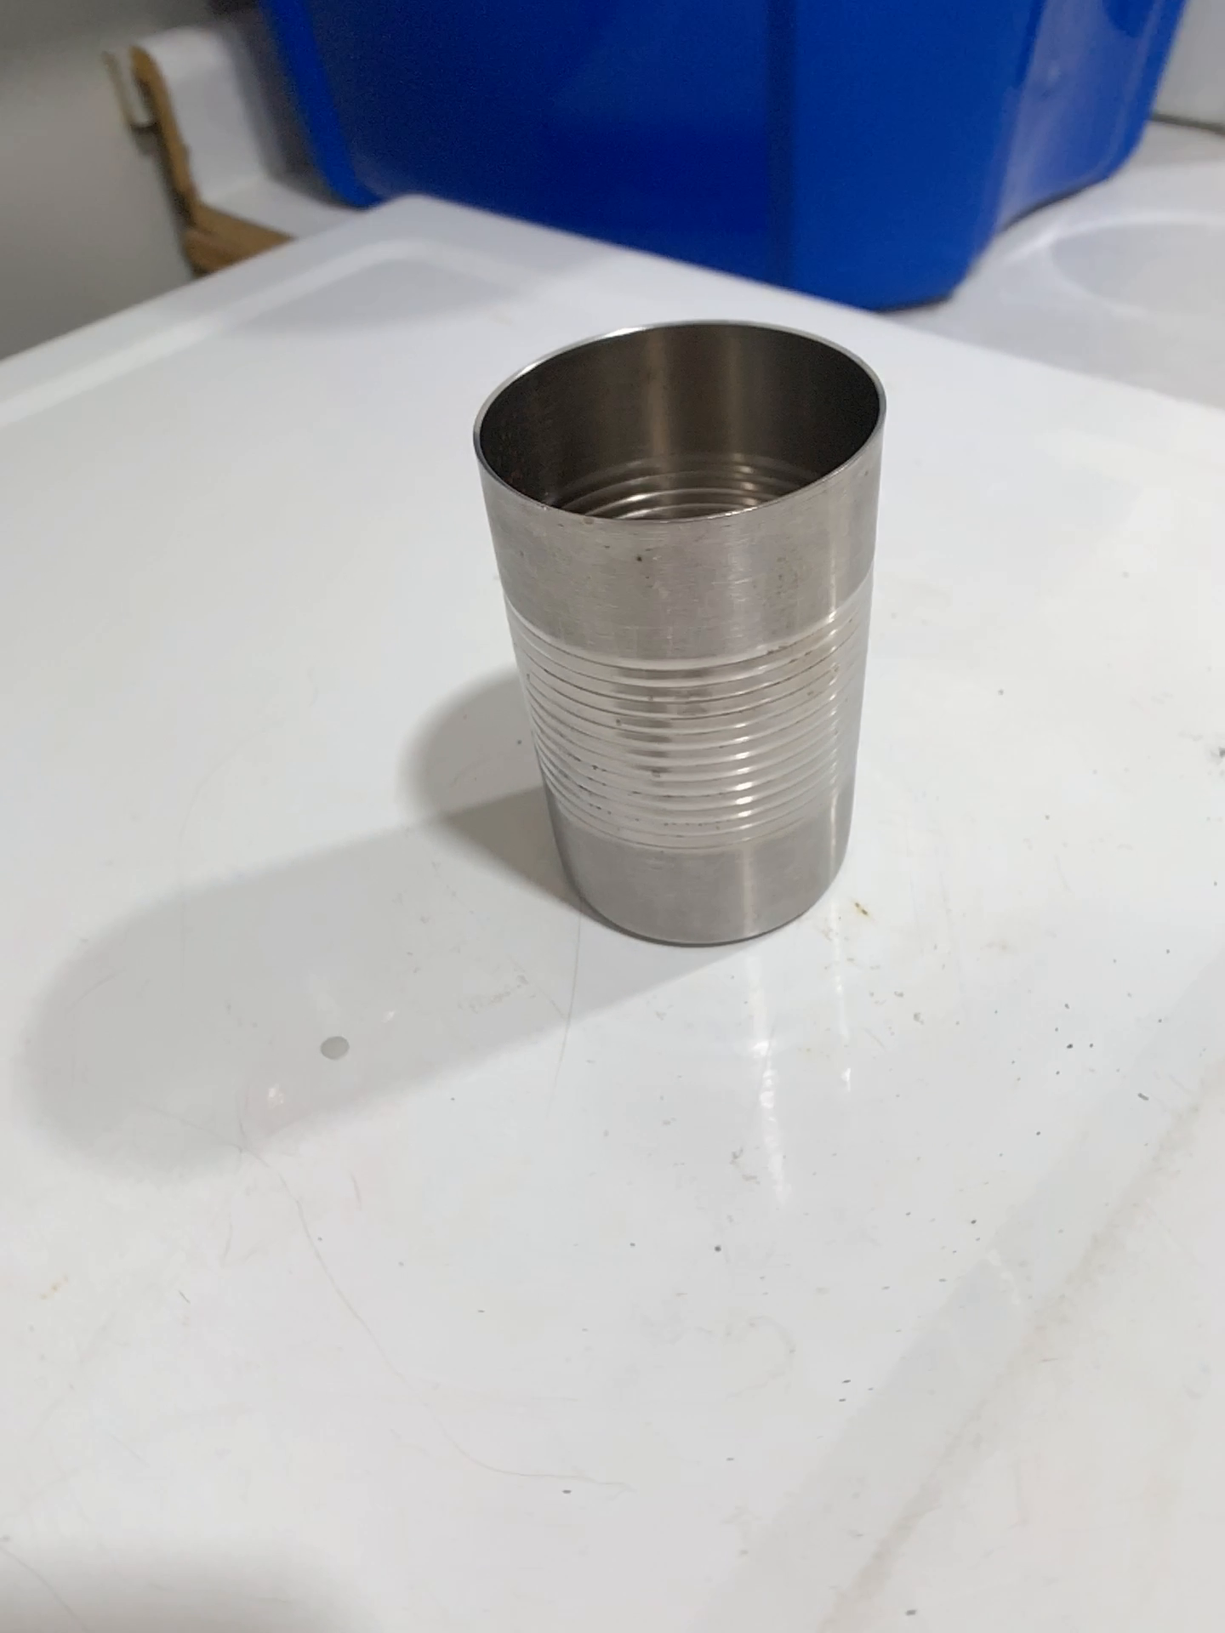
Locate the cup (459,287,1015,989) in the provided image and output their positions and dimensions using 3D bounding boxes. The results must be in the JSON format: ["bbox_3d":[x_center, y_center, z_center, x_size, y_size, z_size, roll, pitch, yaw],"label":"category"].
[{"bbox_3d":[0.020,-0.033,0.242,0.070,0.095,0.071,-4,43,3],"label":"cup"}]
